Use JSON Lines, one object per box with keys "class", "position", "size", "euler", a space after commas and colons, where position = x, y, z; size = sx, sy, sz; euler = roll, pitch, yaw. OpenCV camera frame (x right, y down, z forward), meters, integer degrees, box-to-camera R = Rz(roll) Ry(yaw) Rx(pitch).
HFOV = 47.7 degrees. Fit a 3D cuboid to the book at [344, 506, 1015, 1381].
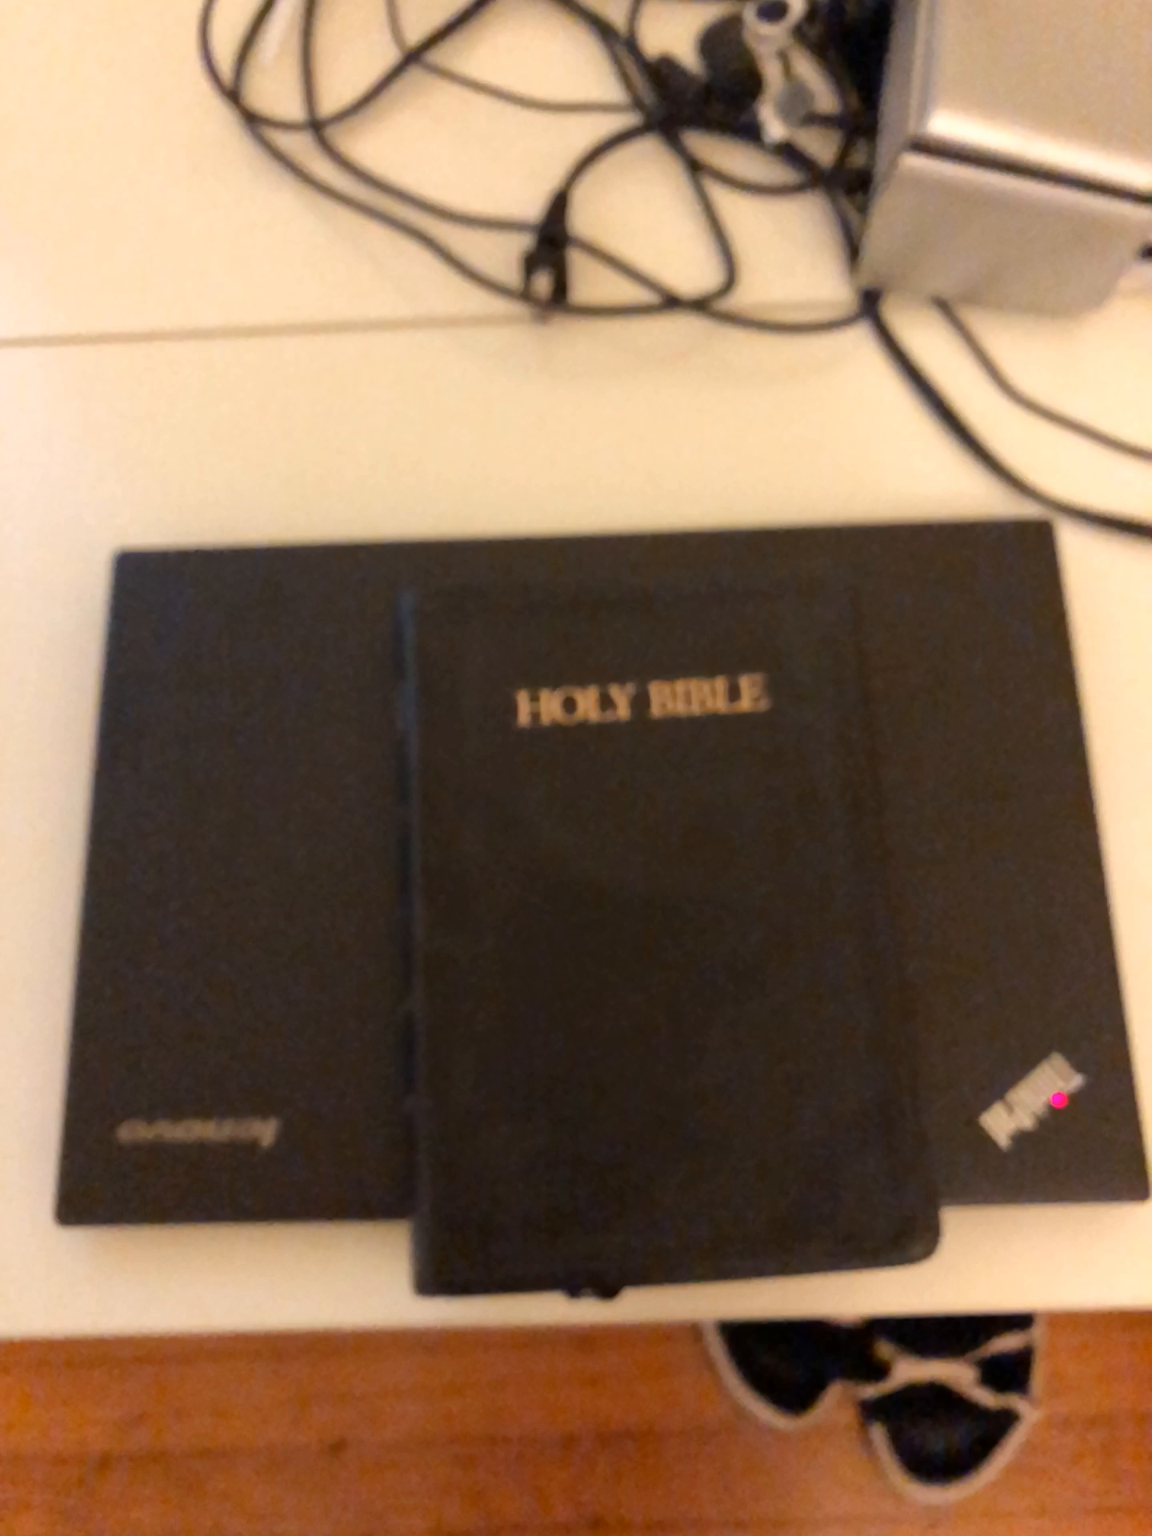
{"class": "book", "position": [0.020, 0.043, 0.388], "size": [0.170, 0.040, 0.240], "euler": [-4, 71, 1]}
